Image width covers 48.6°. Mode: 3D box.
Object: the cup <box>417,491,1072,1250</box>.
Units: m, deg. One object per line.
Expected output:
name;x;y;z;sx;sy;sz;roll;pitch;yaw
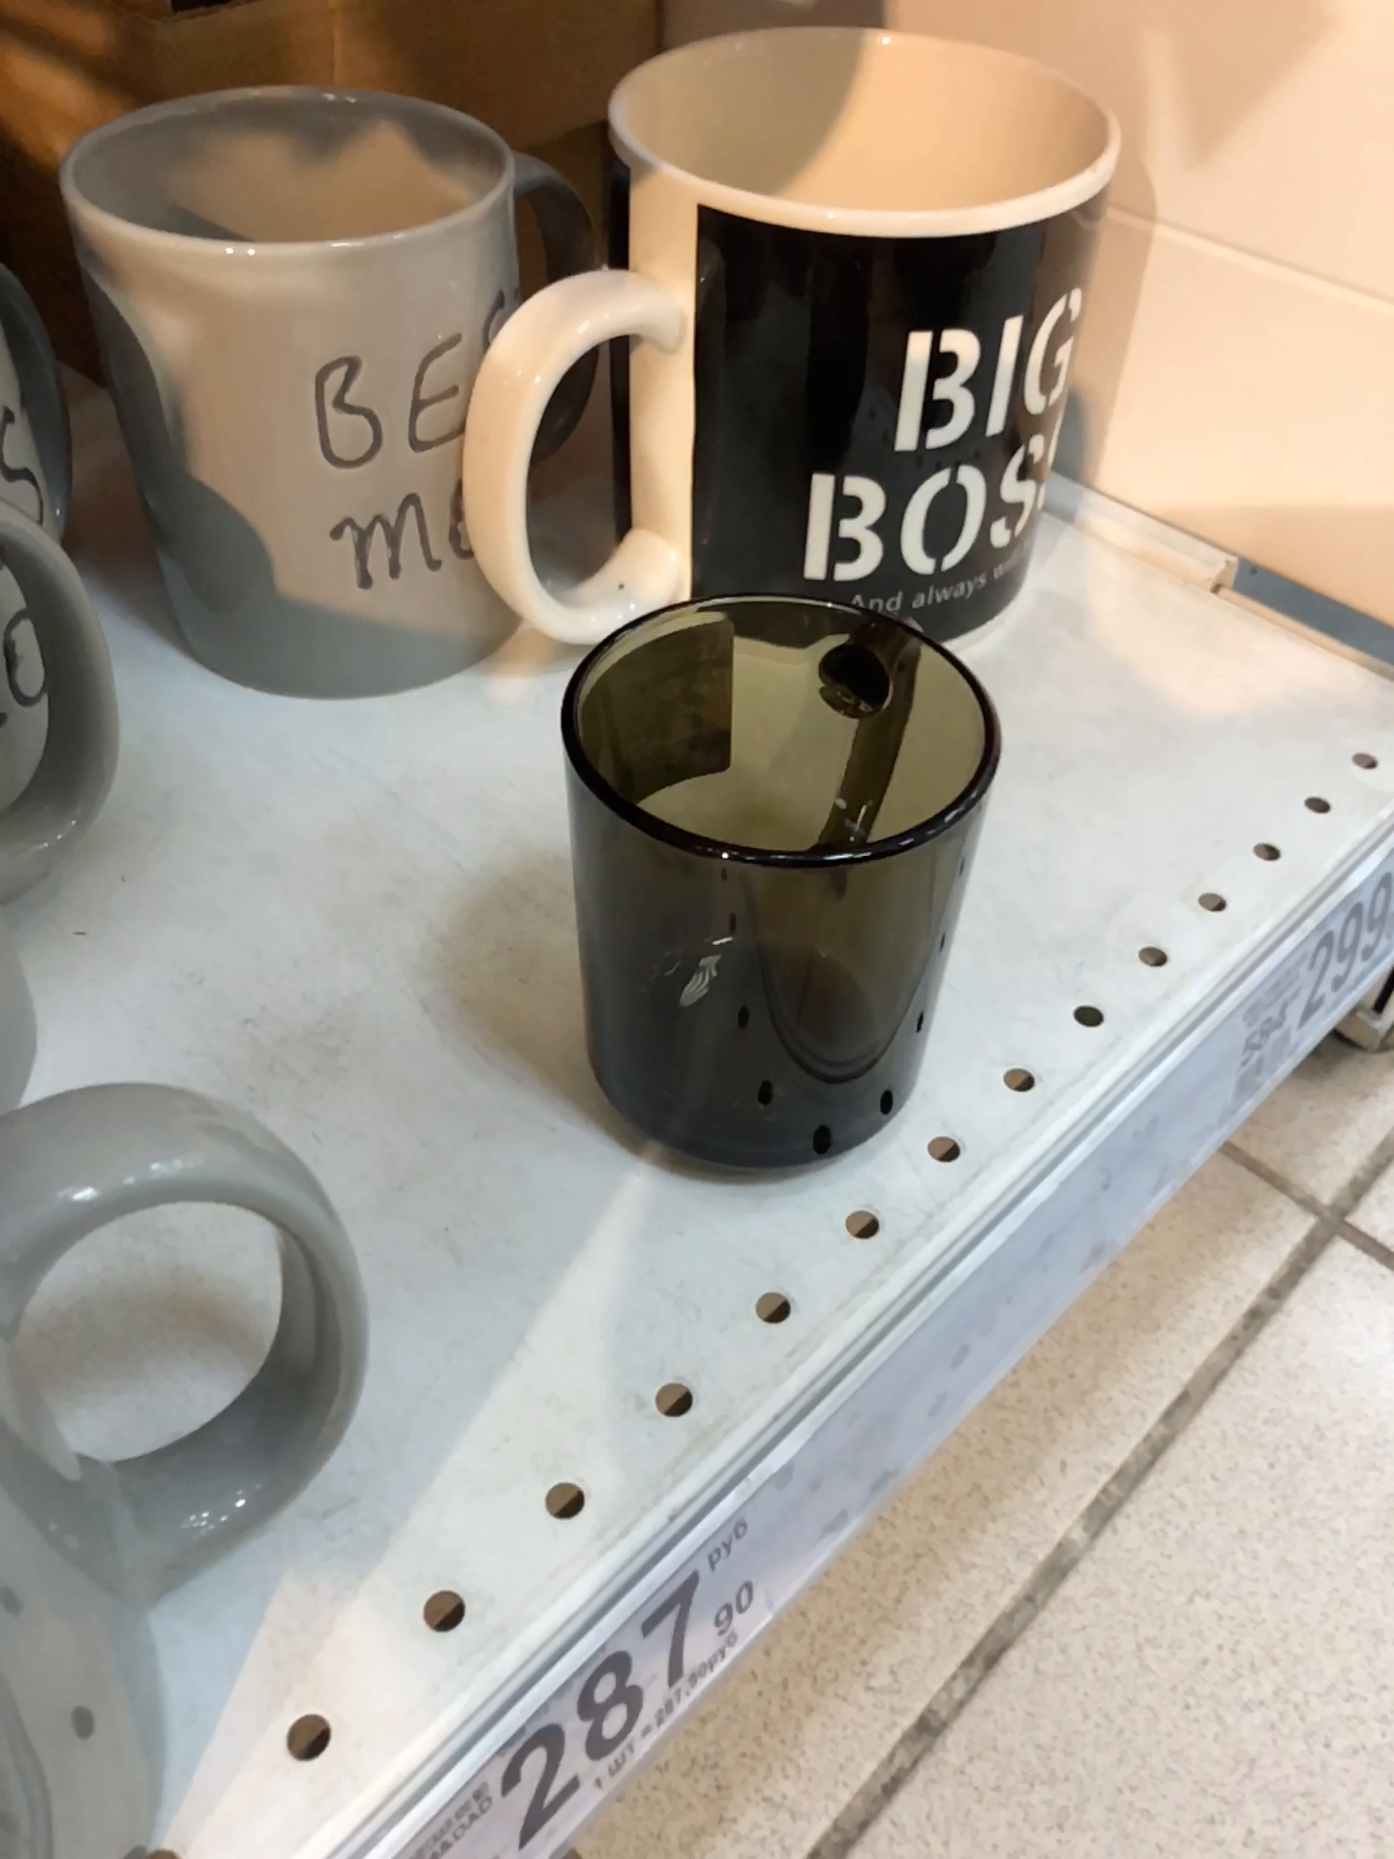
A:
cup;0.012;-0.016;0.289;0.081;0.074;0.106;16;46;13
